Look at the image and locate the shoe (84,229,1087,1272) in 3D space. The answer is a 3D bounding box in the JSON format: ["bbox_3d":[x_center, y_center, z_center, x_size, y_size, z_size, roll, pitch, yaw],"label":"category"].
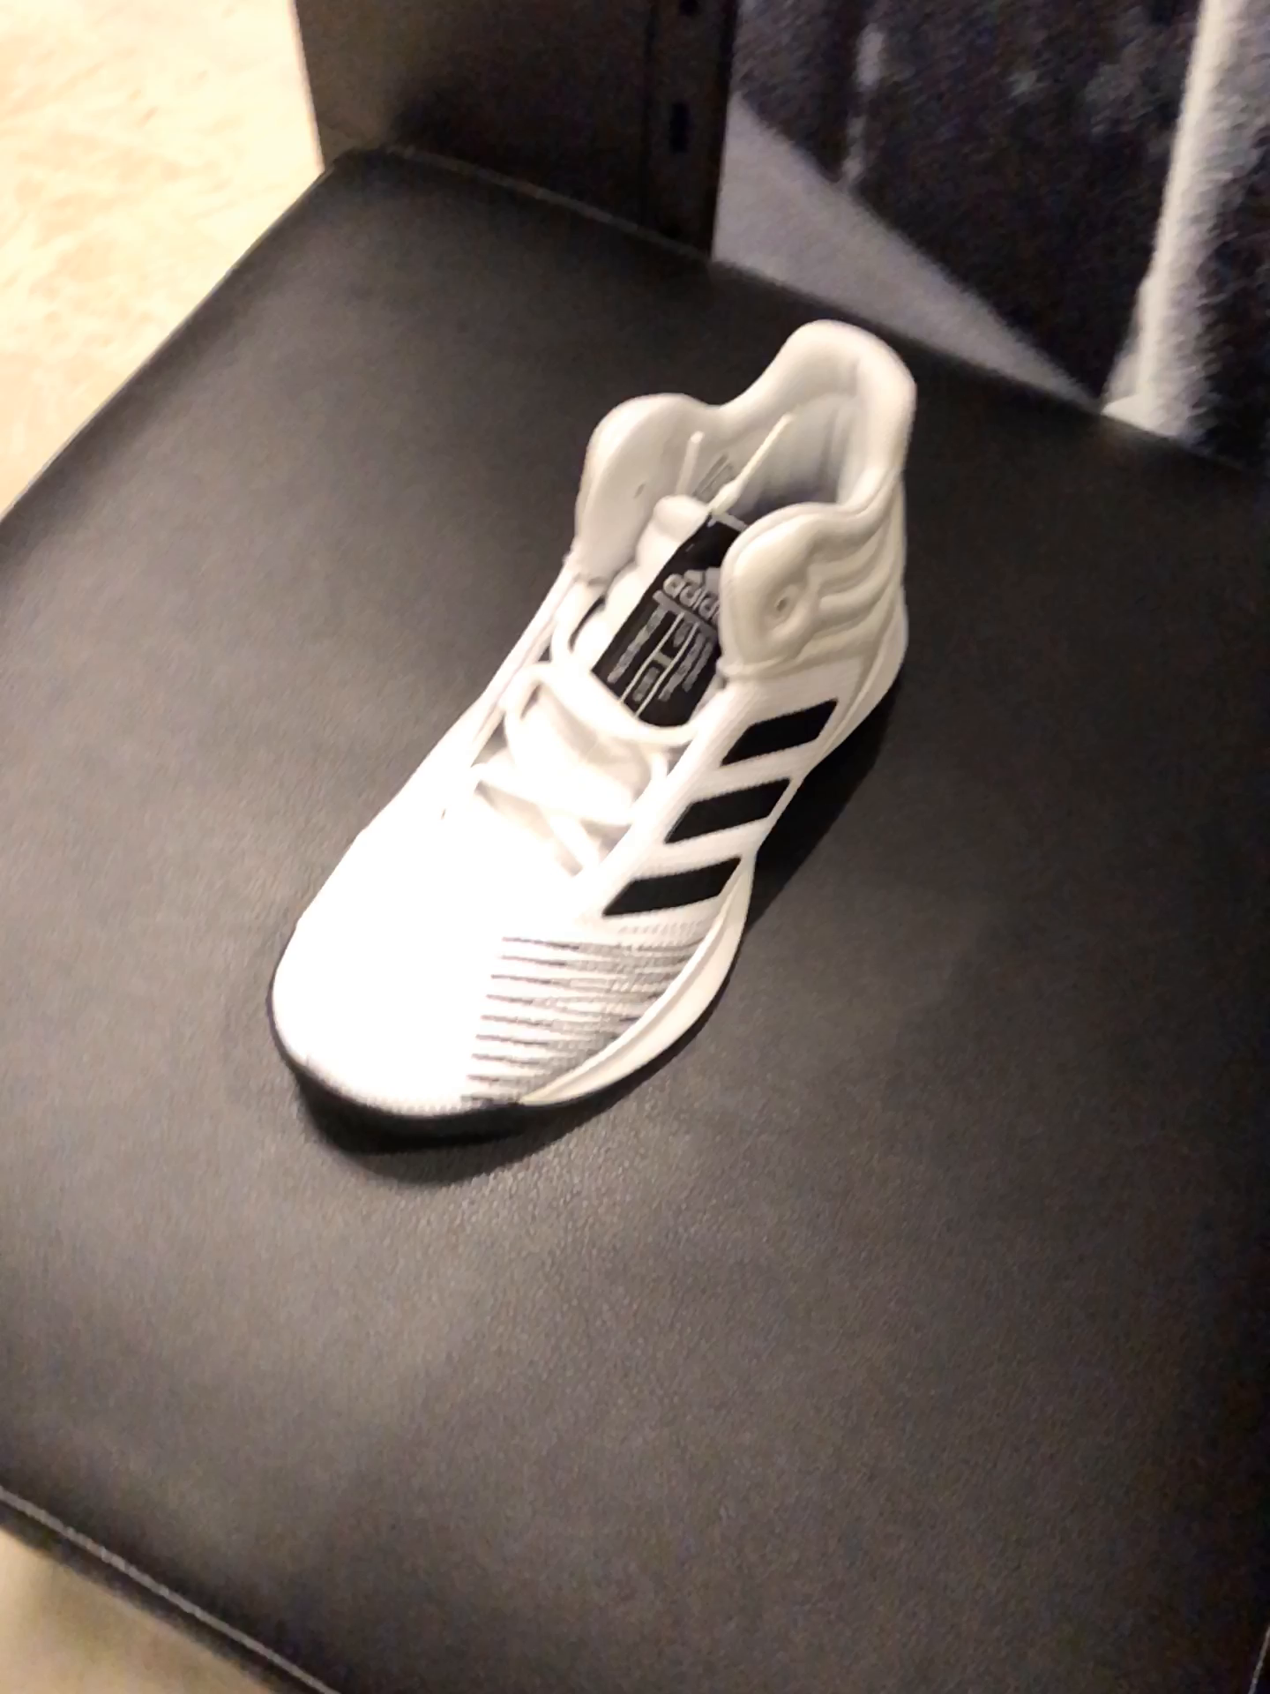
[{"bbox_3d":[-0.002,-0.027,0.348,0.100,0.110,0.220,34,66,14],"label":"shoe"}]
